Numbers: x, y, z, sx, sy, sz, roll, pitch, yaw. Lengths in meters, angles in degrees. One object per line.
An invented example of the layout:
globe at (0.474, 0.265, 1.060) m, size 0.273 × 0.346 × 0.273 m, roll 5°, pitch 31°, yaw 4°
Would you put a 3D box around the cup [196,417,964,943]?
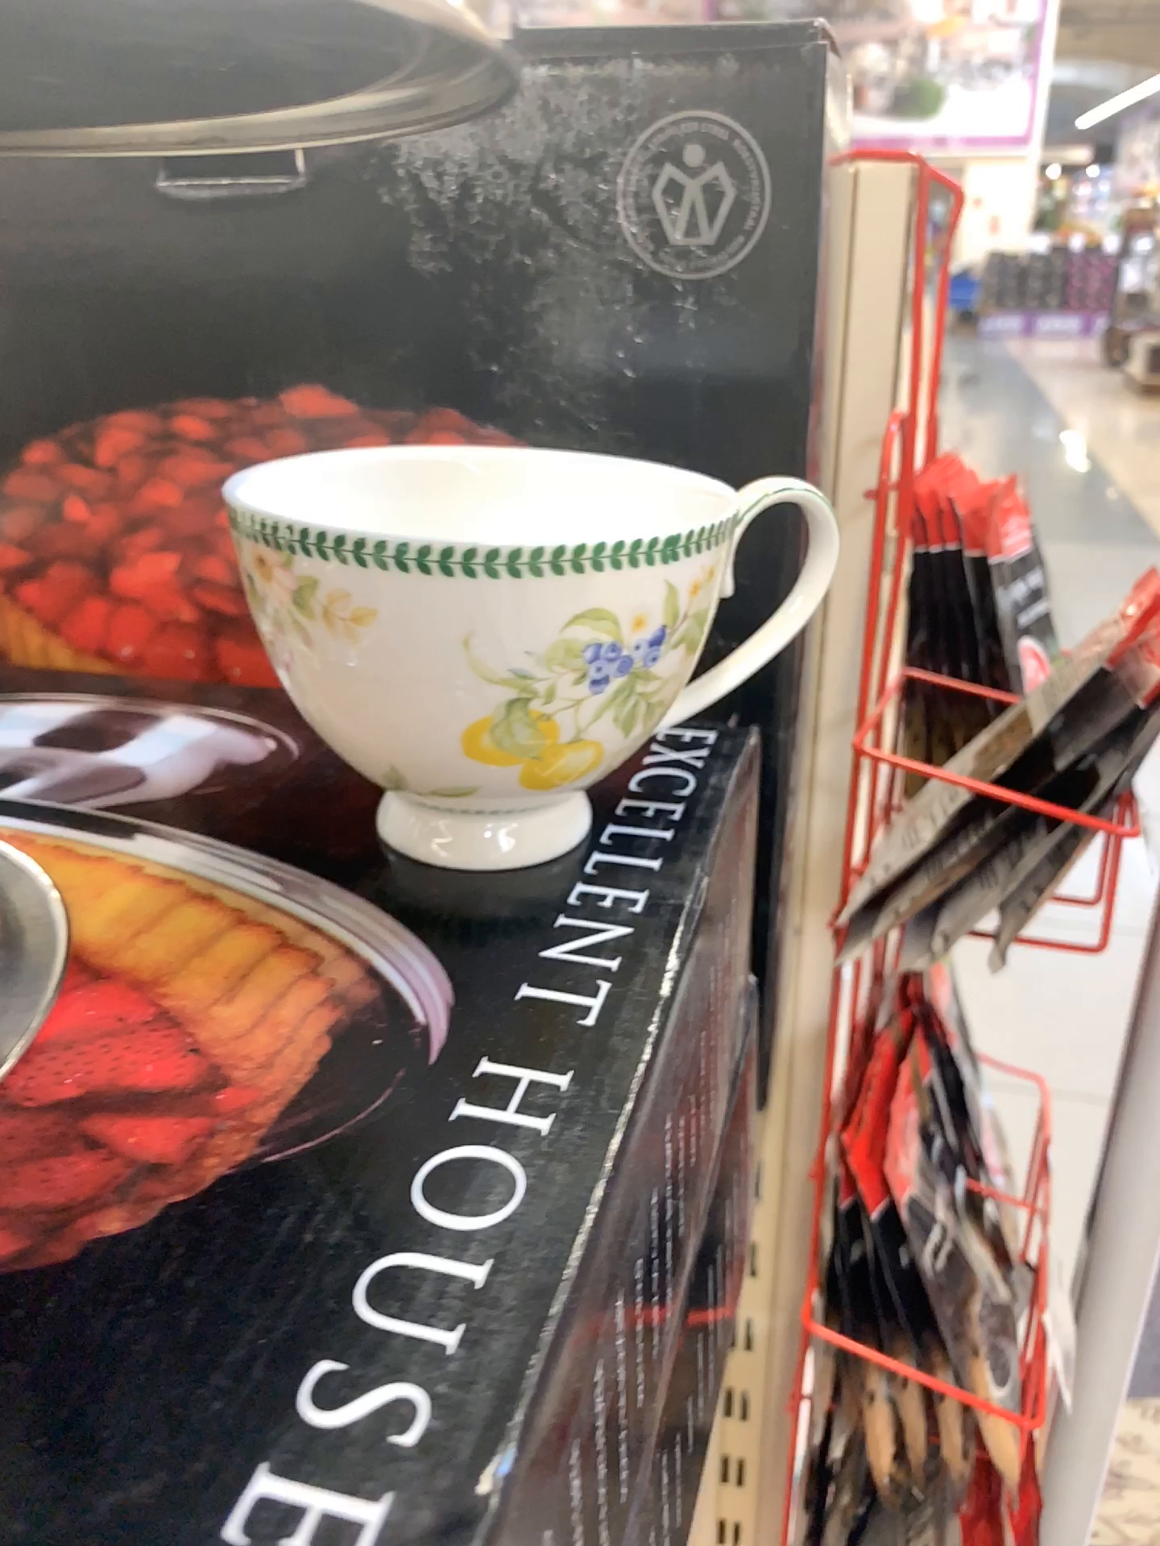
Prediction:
cup at (-0.007, -0.031, 0.263) m, size 0.130 × 0.070 × 0.100 m, roll -9°, pitch 26°, yaw -19°
